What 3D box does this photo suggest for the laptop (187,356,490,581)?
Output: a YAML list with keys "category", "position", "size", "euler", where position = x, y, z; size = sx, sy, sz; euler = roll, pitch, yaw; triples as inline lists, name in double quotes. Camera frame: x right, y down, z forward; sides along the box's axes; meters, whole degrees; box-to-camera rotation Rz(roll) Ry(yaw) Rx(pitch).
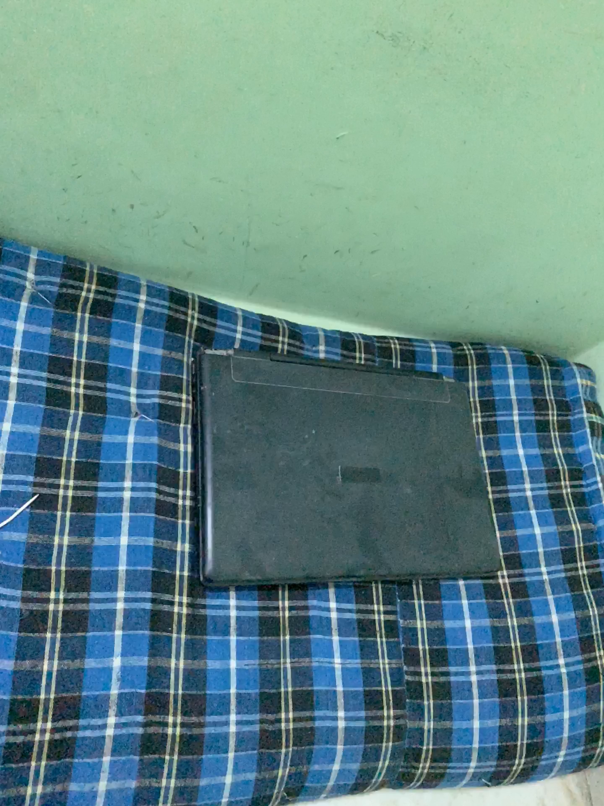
- category: "laptop"
  position: [0.045, 0.064, 0.644]
  size: [0.324, 0.005, 0.216]
  euler: [4, 67, -24]
